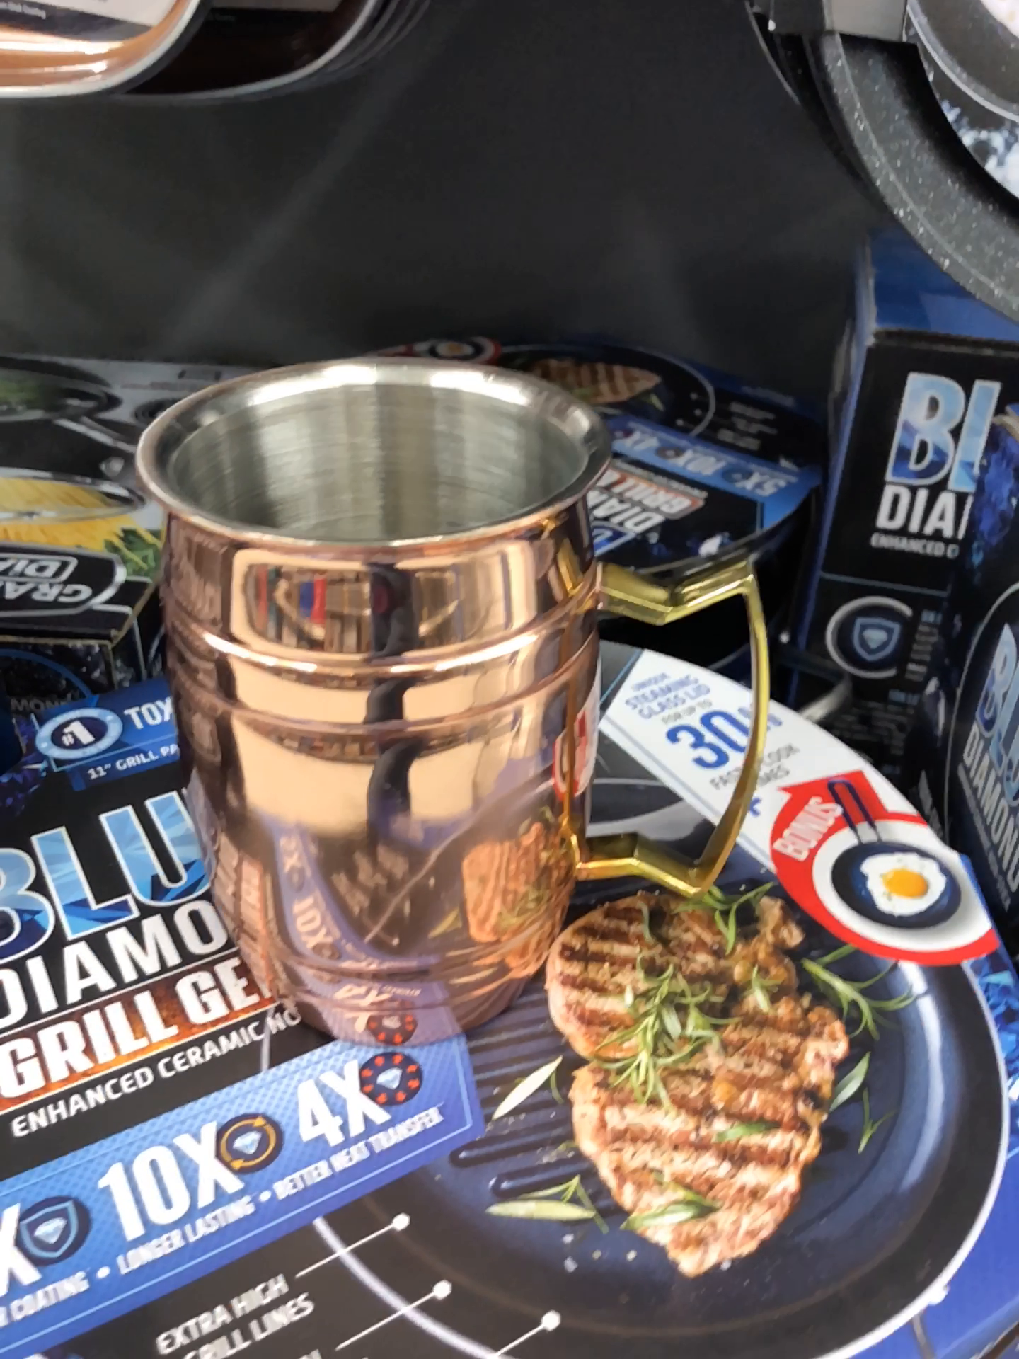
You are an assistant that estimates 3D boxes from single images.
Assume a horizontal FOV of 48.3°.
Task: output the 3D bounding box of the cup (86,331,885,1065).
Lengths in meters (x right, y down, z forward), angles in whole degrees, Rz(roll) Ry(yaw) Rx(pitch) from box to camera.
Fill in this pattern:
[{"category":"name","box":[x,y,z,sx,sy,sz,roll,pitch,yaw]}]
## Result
[{"category":"cup","box":[-0.010,0.001,0.249,0.127,0.126,0.087,-4,34,-9]}]
